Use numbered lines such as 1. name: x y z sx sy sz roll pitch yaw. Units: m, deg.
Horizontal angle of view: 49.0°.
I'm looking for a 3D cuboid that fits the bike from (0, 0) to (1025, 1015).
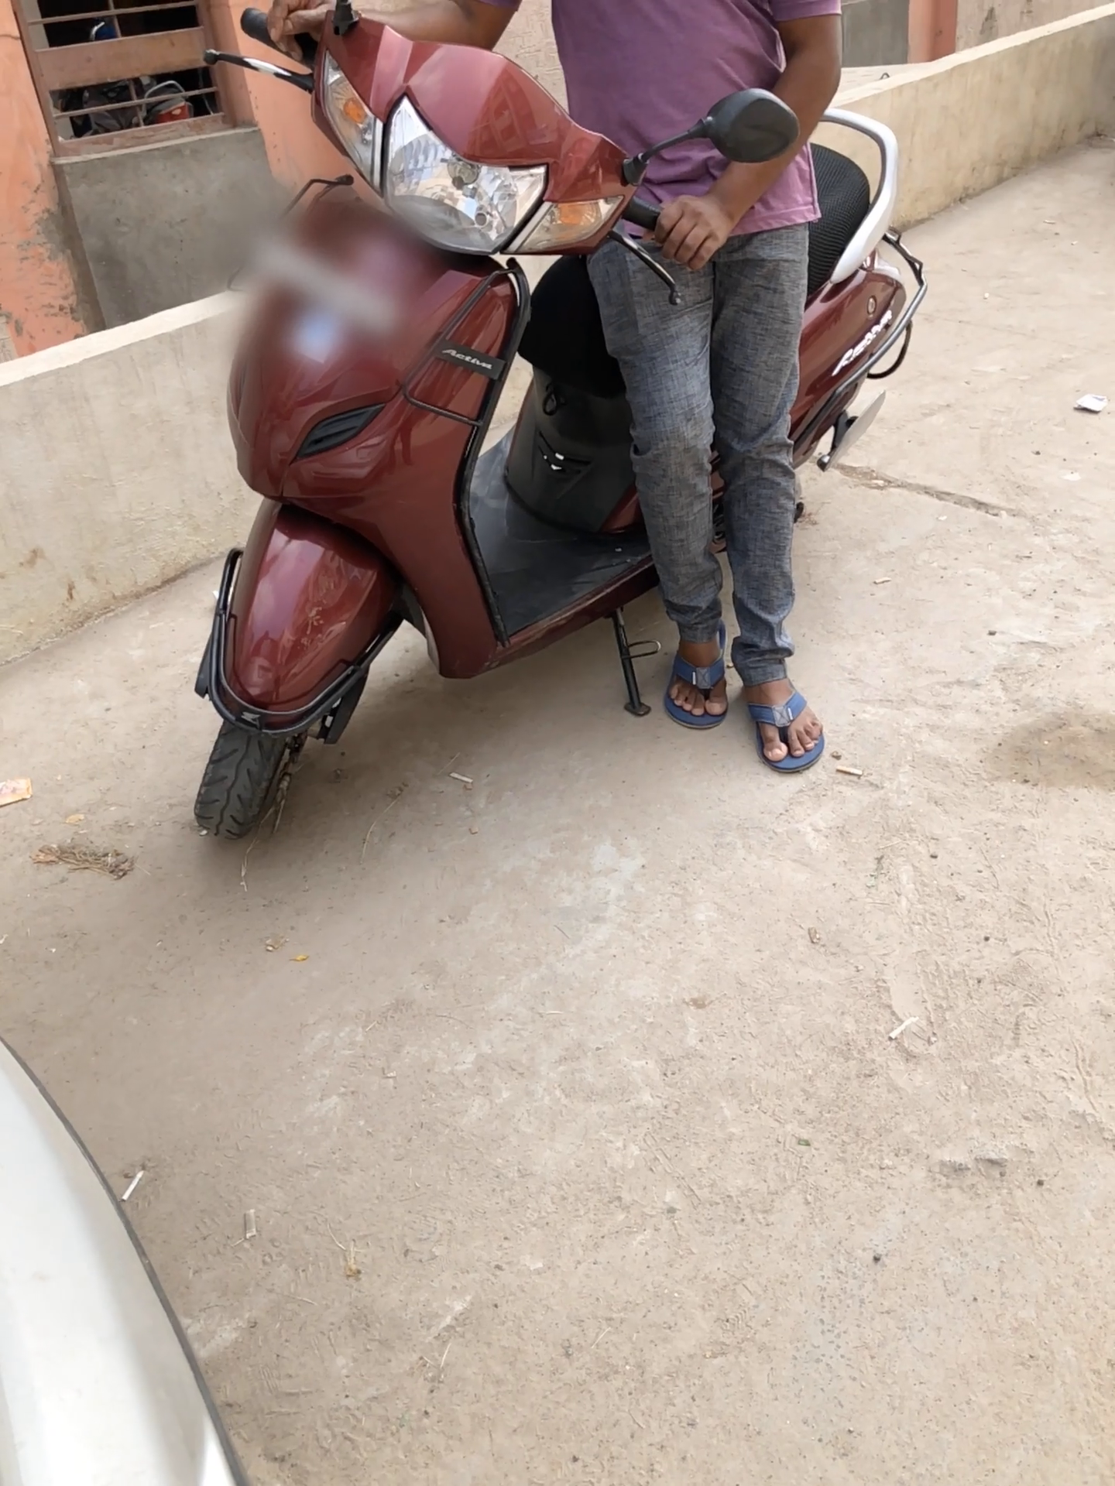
1. bike: 0.046 -0.566 1.975 0.629 1.073 1.586 21 43 36
